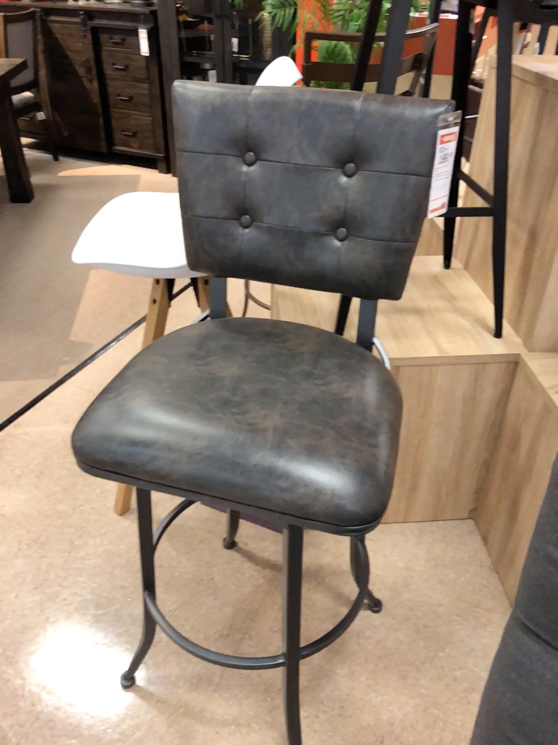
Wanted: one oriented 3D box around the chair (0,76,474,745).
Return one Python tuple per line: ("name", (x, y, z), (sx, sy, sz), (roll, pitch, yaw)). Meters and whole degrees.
("chair", (-0.034, 0.137, 1.074), (0.518, 1.108, 0.514), (10, 35, 16))
